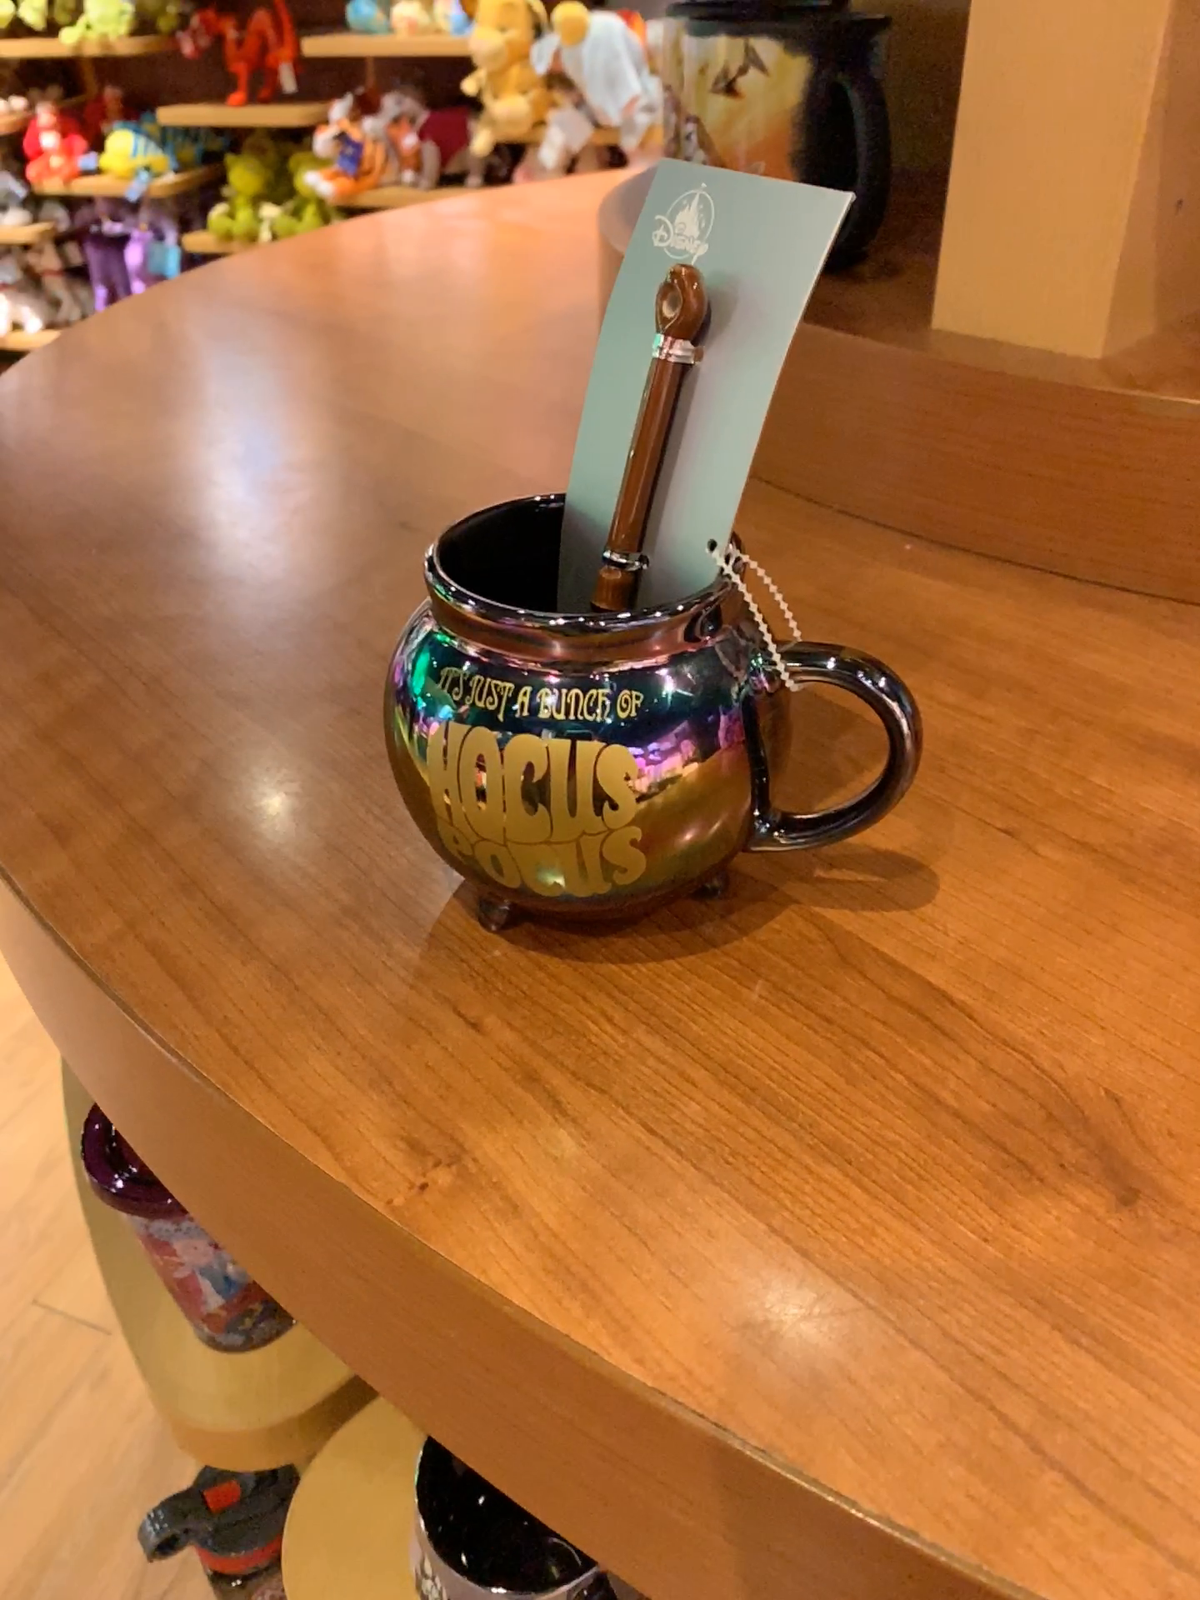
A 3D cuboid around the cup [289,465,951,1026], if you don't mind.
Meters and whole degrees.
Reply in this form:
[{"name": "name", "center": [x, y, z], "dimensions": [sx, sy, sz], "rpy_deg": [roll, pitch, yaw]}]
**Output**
[{"name": "cup", "center": [0.012, -0.022, 0.323], "dimensions": [0.136, 0.089, 0.101], "rpy_deg": [9, 36, 16]}]
